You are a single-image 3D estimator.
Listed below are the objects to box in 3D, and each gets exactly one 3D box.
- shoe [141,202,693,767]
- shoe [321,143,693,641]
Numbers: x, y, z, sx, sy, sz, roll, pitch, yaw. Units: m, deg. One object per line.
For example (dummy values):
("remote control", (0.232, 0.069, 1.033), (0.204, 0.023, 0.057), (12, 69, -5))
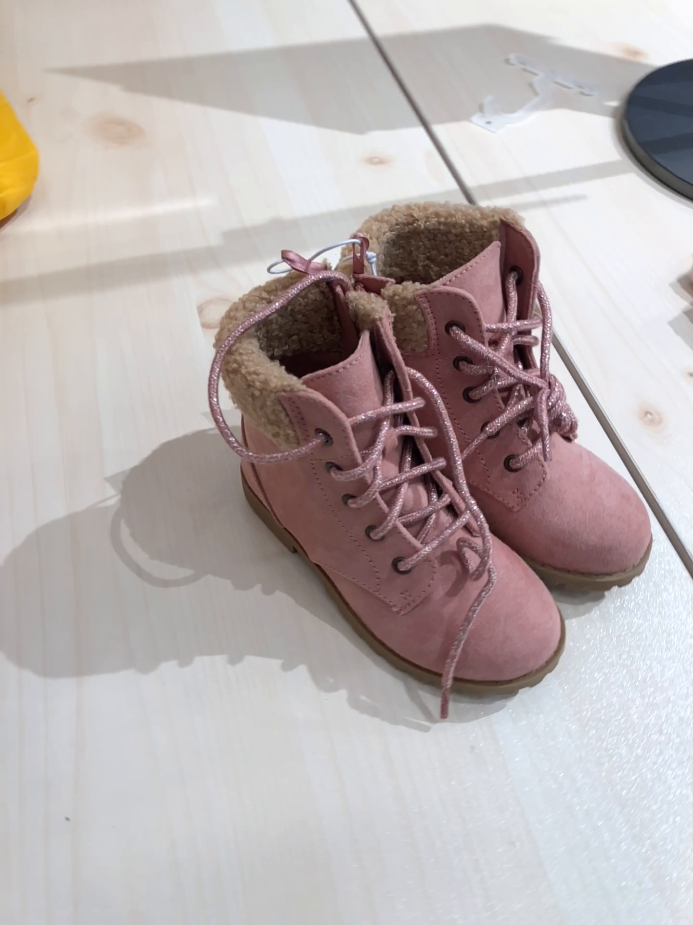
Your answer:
("shoe", (0.018, 0.008, 0.283), (0.160, 0.120, 0.080), (38, 62, 24))
("shoe", (0.075, -0.030, 0.320), (0.160, 0.120, 0.080), (38, 62, 24))
